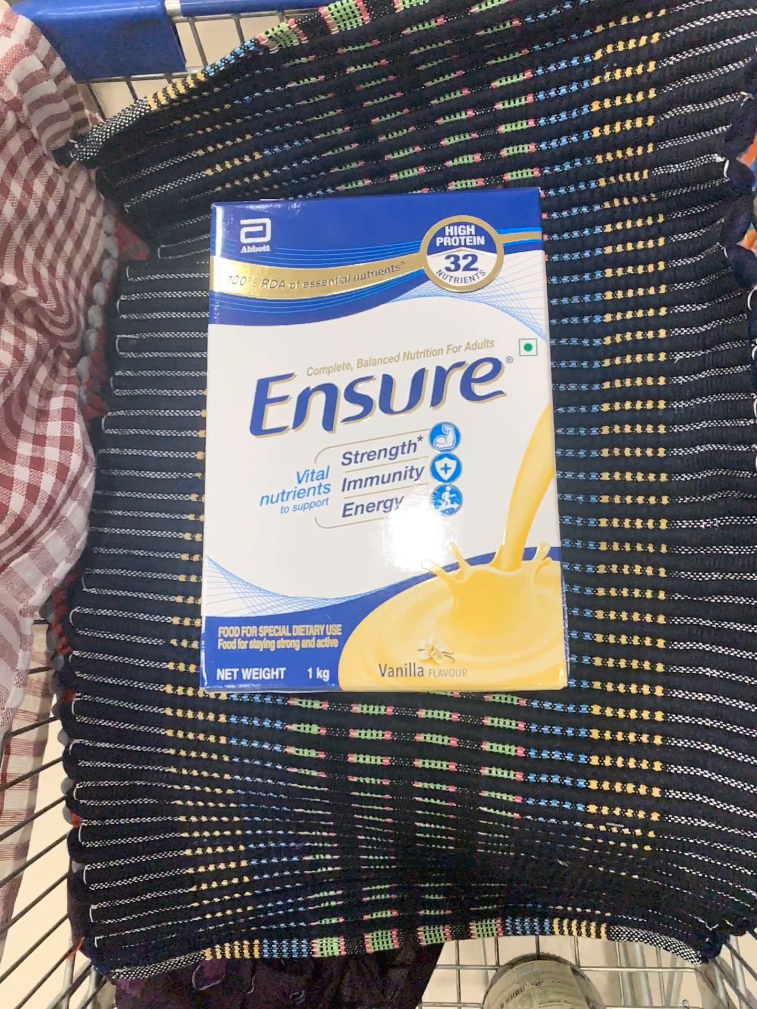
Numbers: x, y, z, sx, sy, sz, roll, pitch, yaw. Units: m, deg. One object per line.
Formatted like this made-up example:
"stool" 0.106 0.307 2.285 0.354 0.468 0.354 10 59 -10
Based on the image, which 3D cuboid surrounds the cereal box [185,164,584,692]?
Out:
"cereal box" 0.004 -0.028 0.360 0.150 0.090 0.220 -1 78 4
